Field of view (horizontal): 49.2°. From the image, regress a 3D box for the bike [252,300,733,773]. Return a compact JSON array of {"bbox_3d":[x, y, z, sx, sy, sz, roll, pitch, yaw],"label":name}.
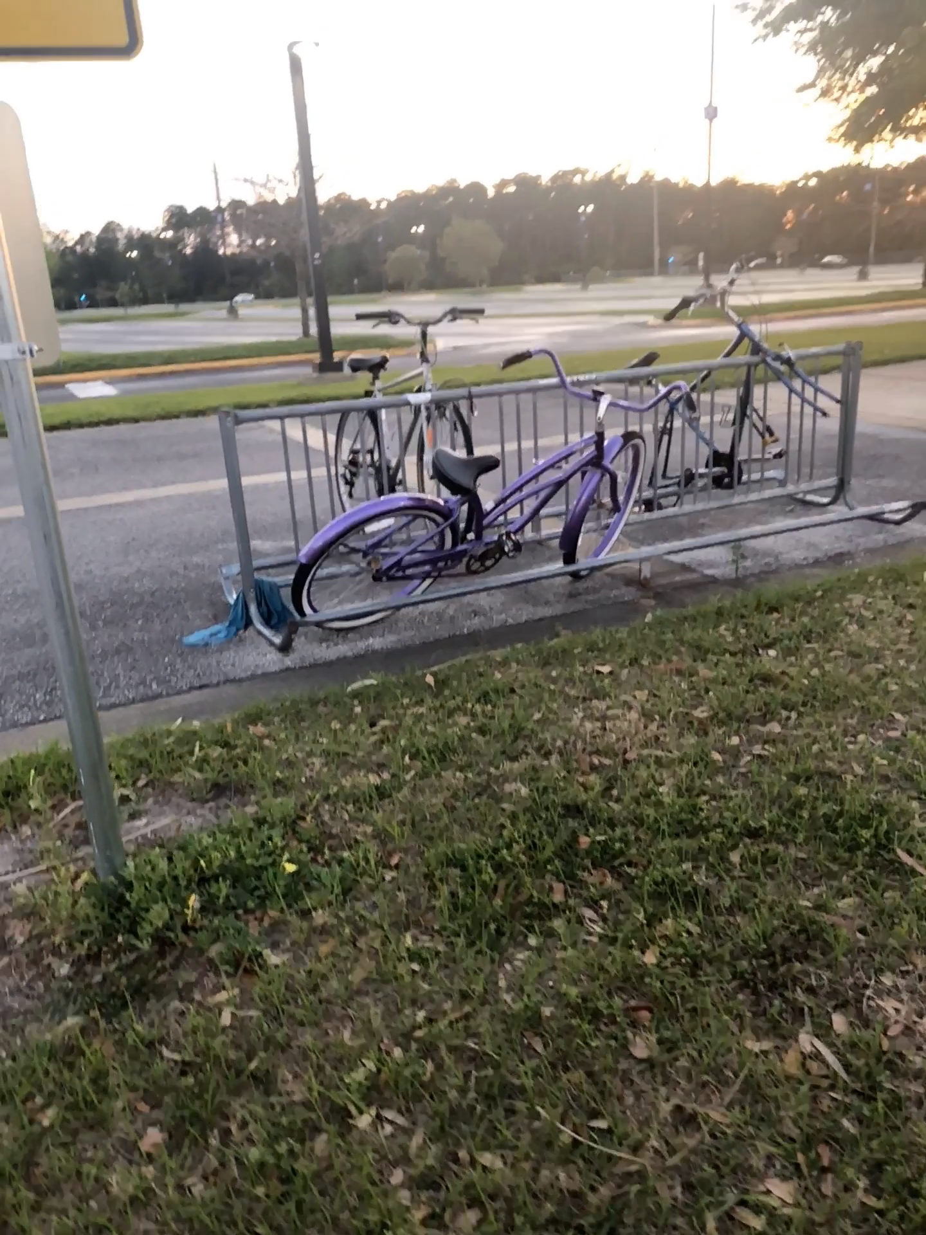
[{"bbox_3d":[0.157,-0.448,3.742,1.703,1.117,0.852,-20,23,-31],"label":"bike"}]
